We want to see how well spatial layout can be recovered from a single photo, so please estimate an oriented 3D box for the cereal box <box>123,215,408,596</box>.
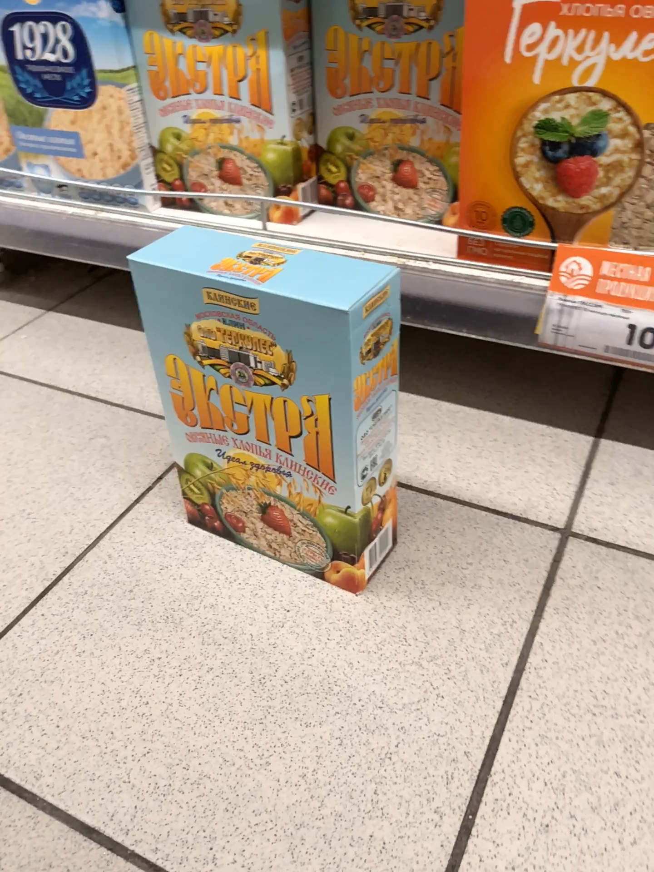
[{"bbox_3d":[-0.031,-0.017,0.459,0.150,0.209,0.060,18,42,27],"label":"cereal box"}]
